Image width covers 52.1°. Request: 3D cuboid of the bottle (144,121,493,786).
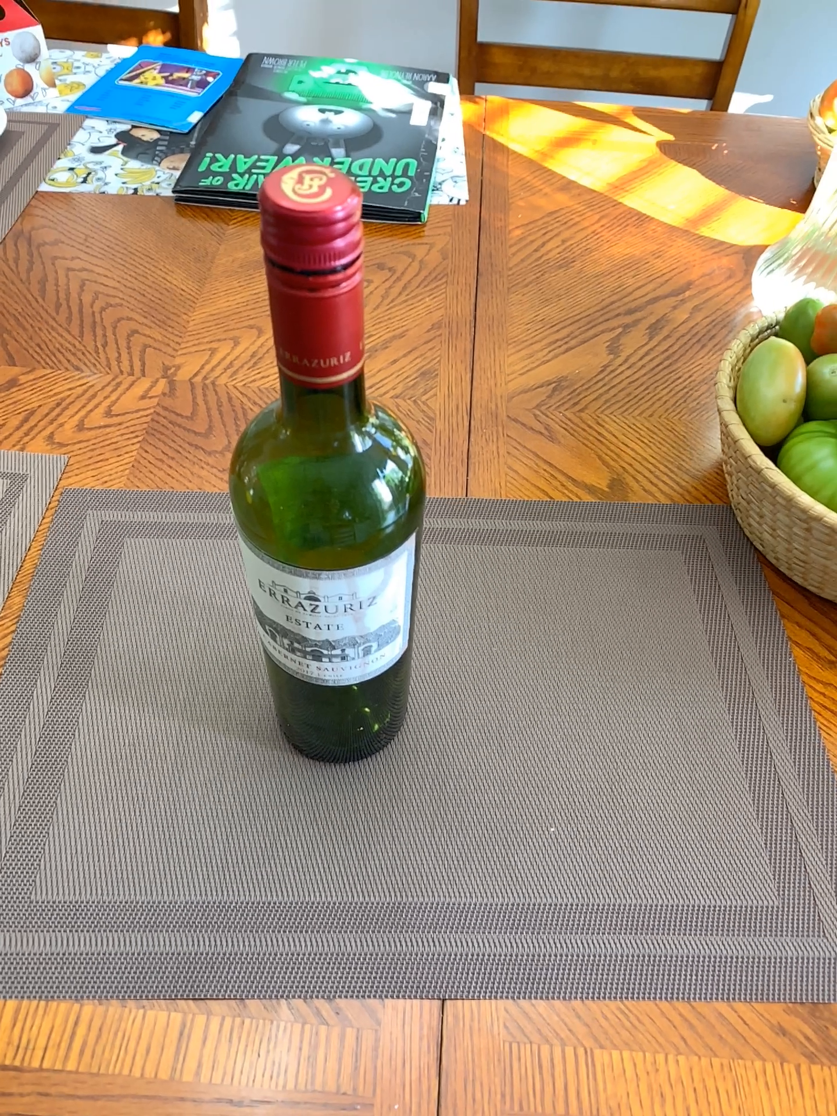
[{"bbox_3d":[-0.032,-0.010,0.372,0.090,0.308,0.081,6,51,2],"label":"bottle"}]
